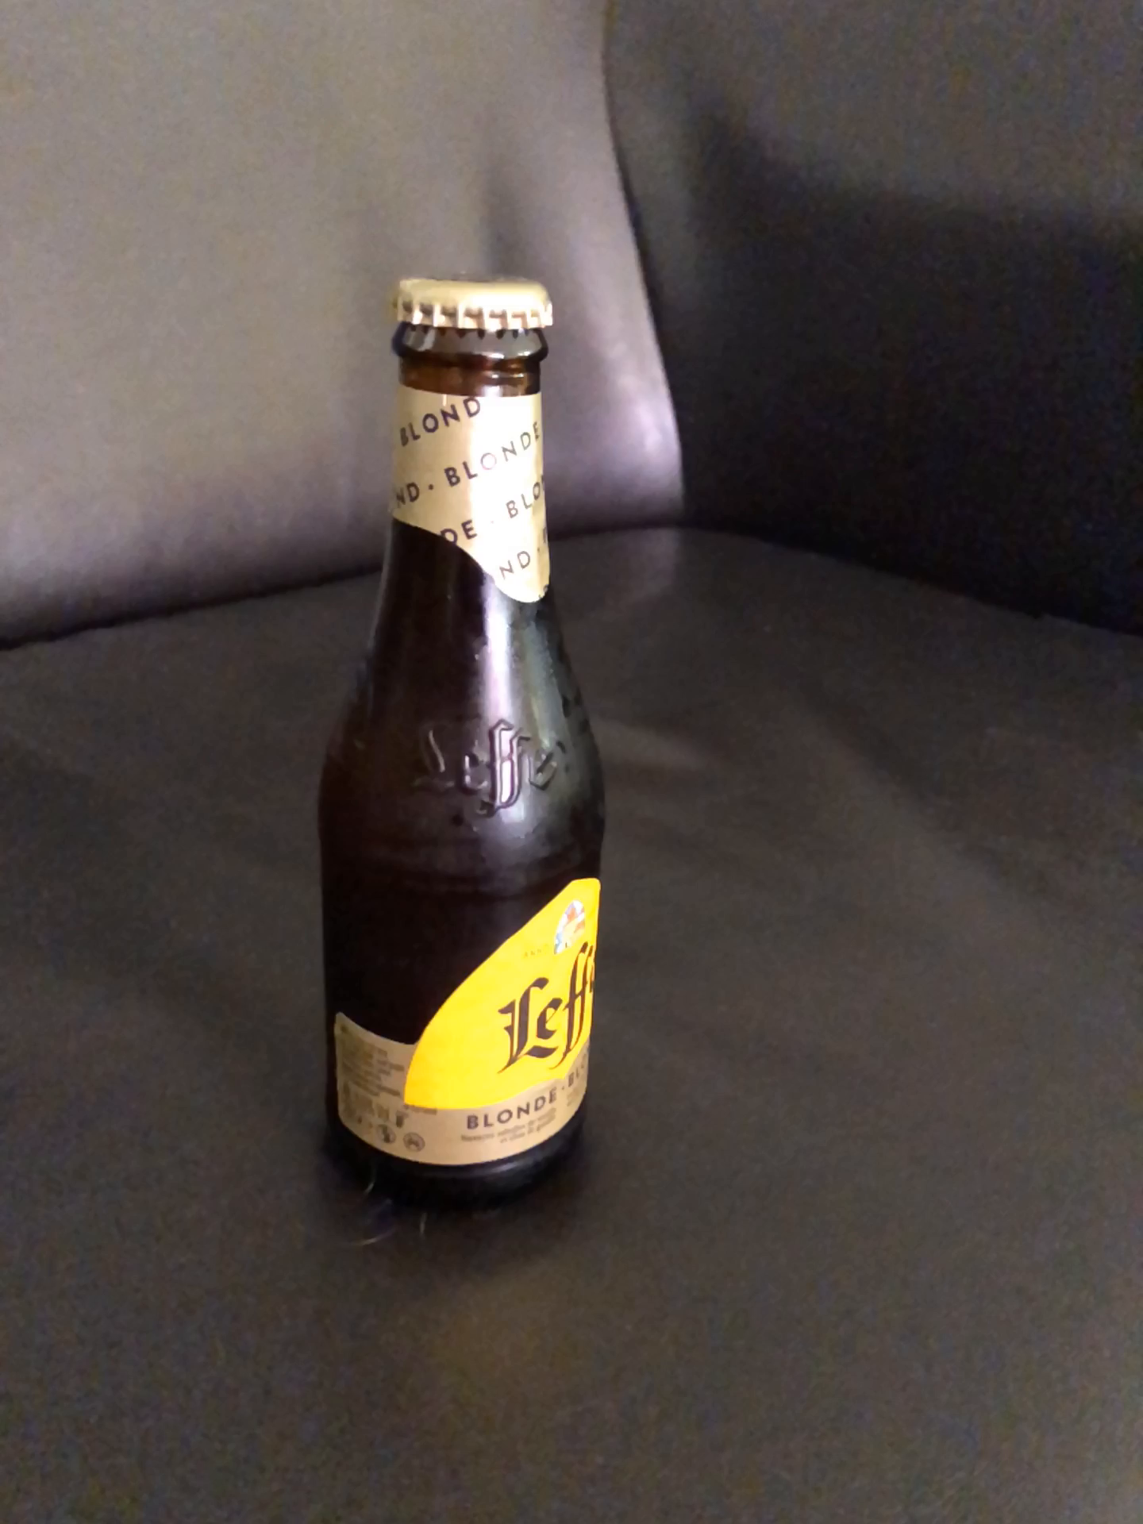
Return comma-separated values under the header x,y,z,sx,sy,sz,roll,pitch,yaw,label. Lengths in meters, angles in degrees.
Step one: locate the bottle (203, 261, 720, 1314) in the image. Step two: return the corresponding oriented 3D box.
x,y,z,sx,sy,sz,roll,pitch,yaw,label
-0.022,0.007,0.250,0.060,0.189,0.060,3,27,-2,bottle
